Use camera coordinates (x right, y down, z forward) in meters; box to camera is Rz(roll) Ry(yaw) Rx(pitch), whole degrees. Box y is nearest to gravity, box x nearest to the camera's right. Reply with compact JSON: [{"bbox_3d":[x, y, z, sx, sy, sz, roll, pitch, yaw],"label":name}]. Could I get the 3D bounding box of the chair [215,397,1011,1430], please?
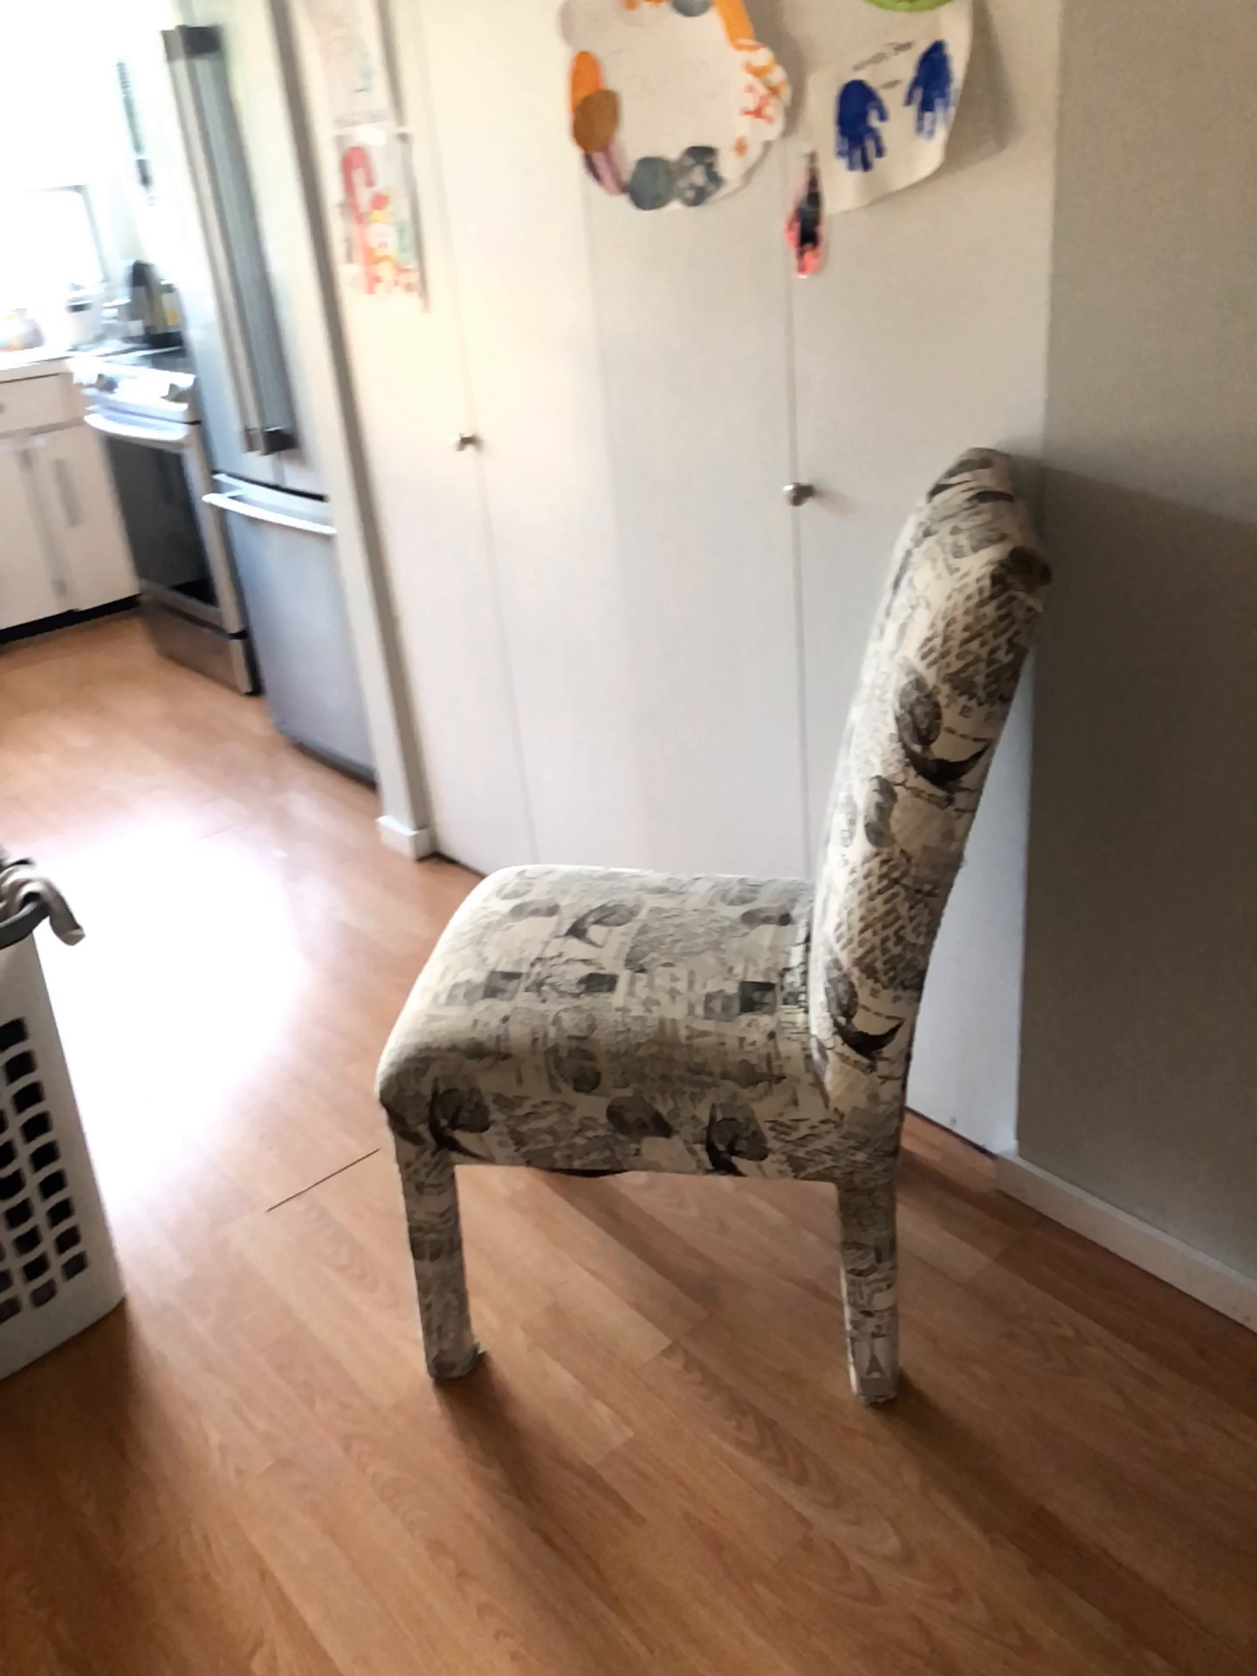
[{"bbox_3d":[0.062,0.077,1.576,0.670,0.997,0.522,0,26,12],"label":"chair"}]
